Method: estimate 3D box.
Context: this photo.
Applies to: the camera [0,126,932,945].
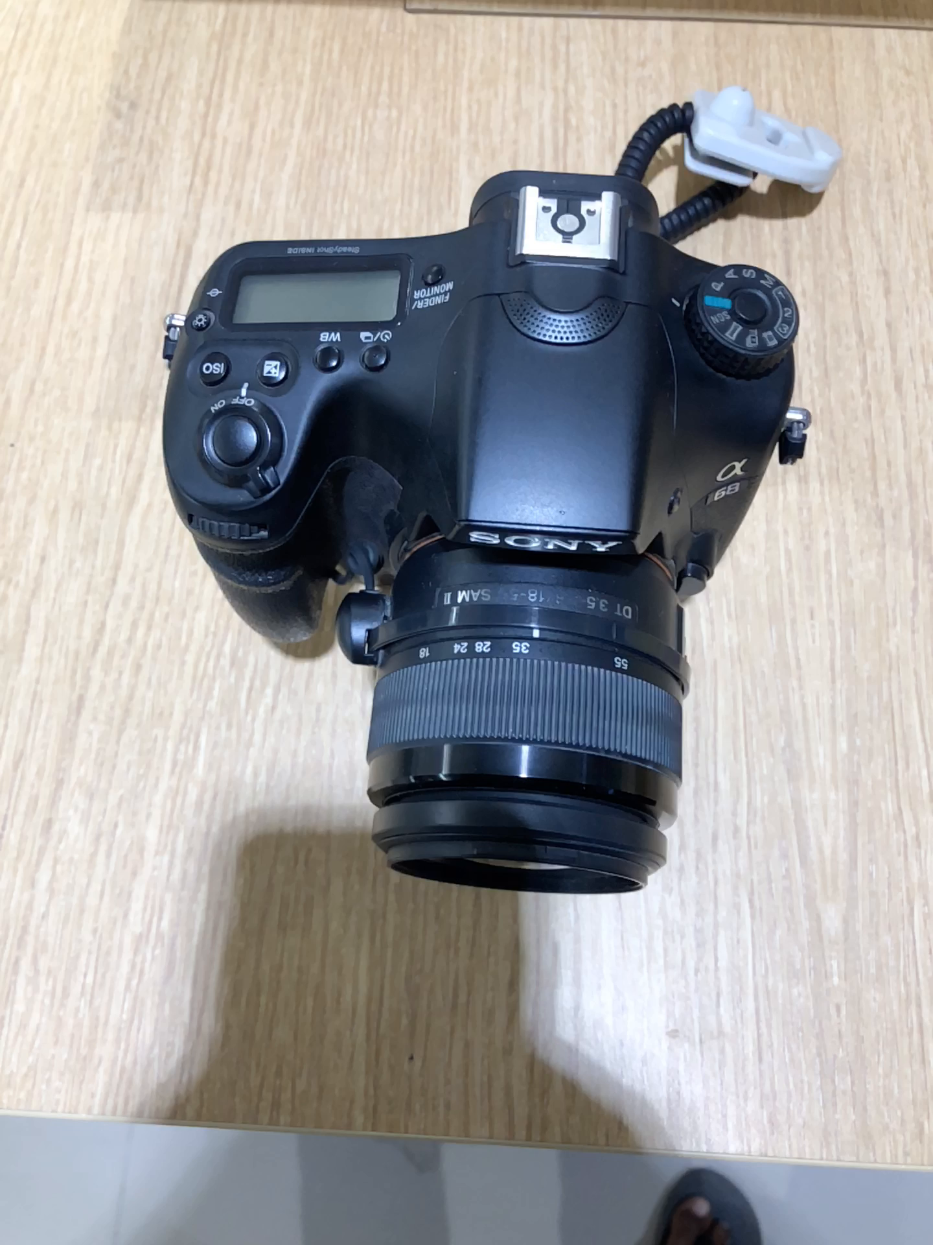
[{"bbox_3d":[0.003,-0.013,0.202,0.140,0.080,0.130,3,69,3],"label":"camera"}]
